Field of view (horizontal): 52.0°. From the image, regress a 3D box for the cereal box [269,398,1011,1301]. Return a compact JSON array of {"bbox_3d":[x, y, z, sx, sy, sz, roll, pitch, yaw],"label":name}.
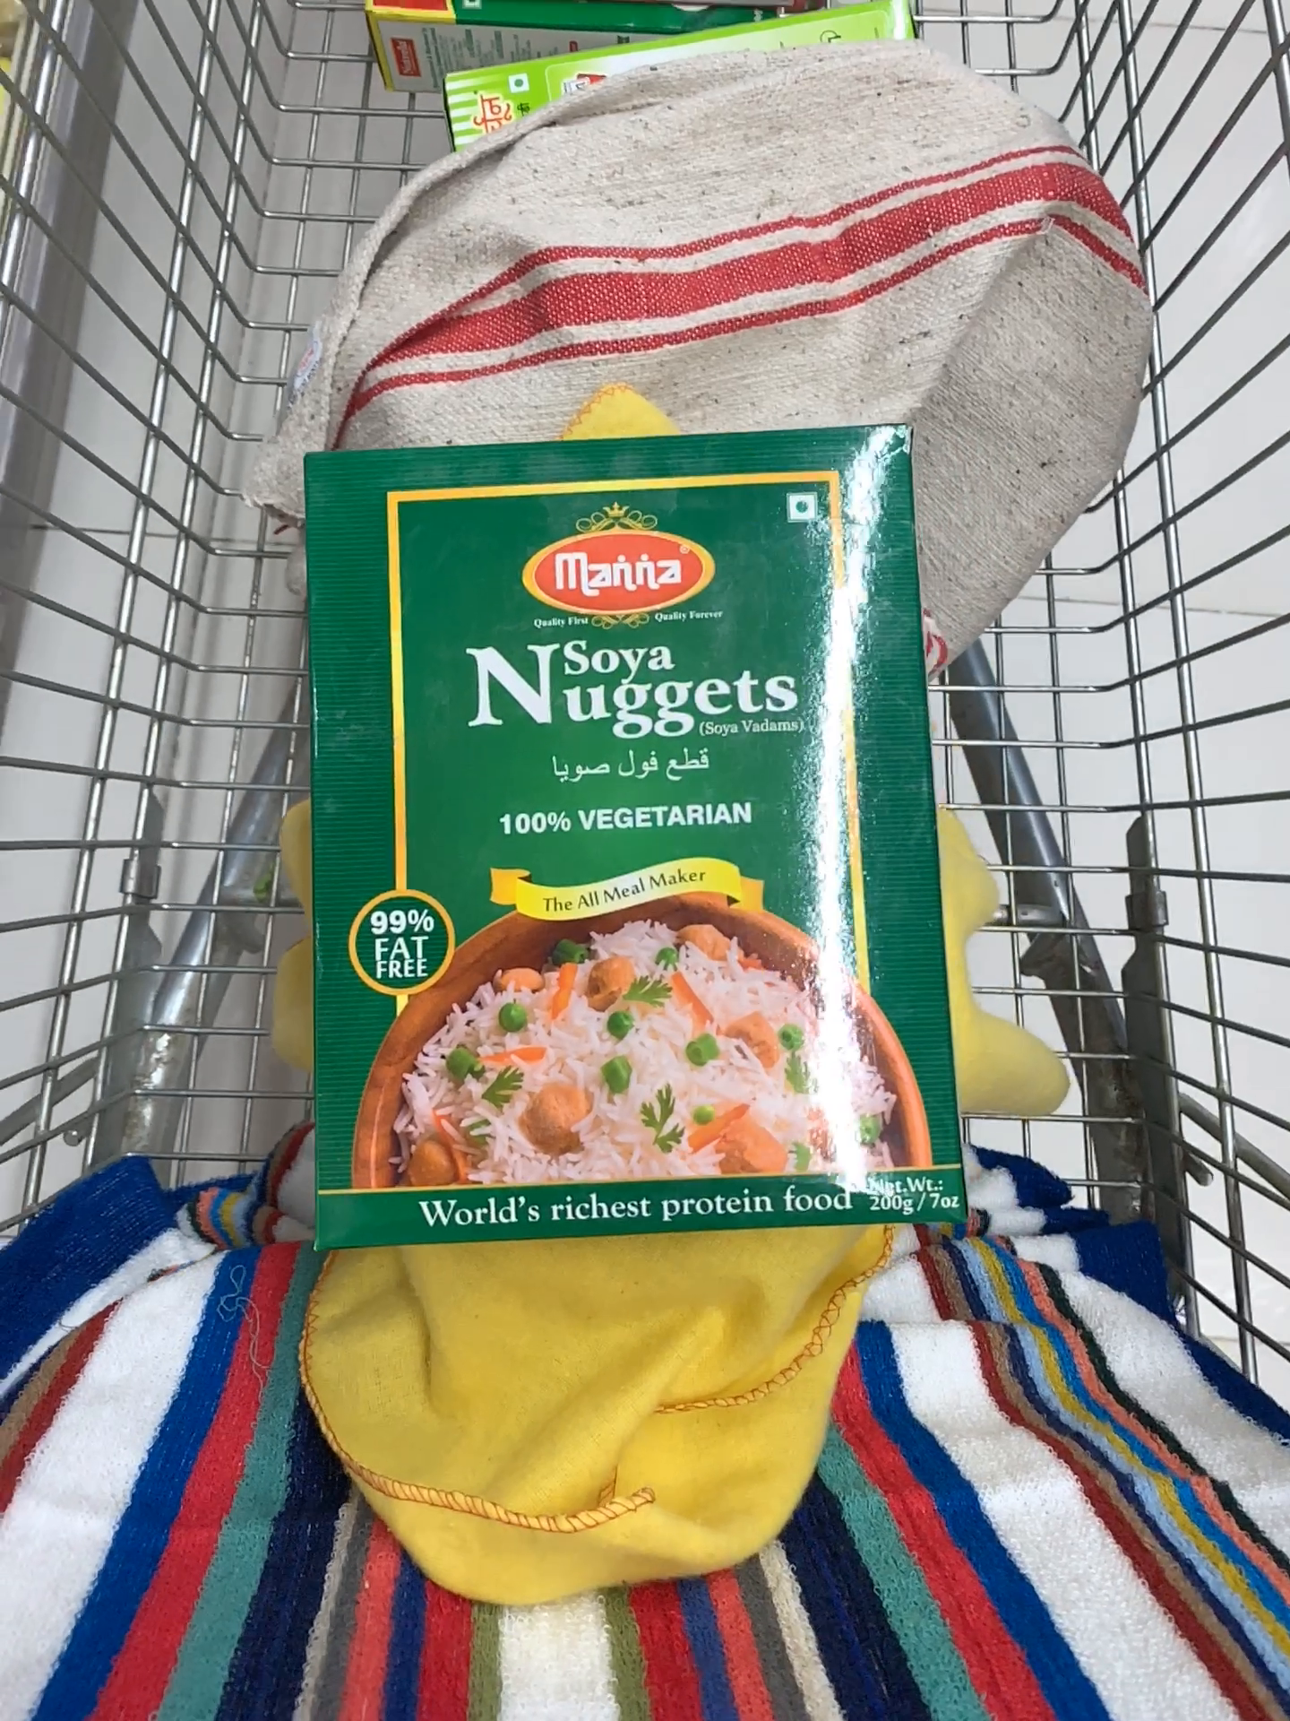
[{"bbox_3d":[-0.004,-0.003,0.332,0.160,0.060,0.200,-3,83,1],"label":"cereal box"}]
